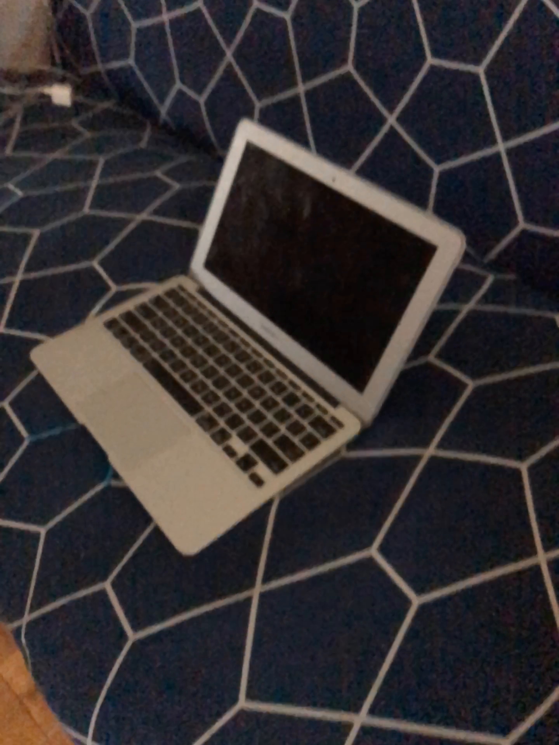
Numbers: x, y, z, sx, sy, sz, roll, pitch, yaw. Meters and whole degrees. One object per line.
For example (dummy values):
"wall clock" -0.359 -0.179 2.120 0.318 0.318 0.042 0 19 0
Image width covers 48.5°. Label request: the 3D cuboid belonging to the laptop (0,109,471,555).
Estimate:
"laptop" -0.048 -0.065 0.547 0.280 0.156 0.282 -32 53 -25
